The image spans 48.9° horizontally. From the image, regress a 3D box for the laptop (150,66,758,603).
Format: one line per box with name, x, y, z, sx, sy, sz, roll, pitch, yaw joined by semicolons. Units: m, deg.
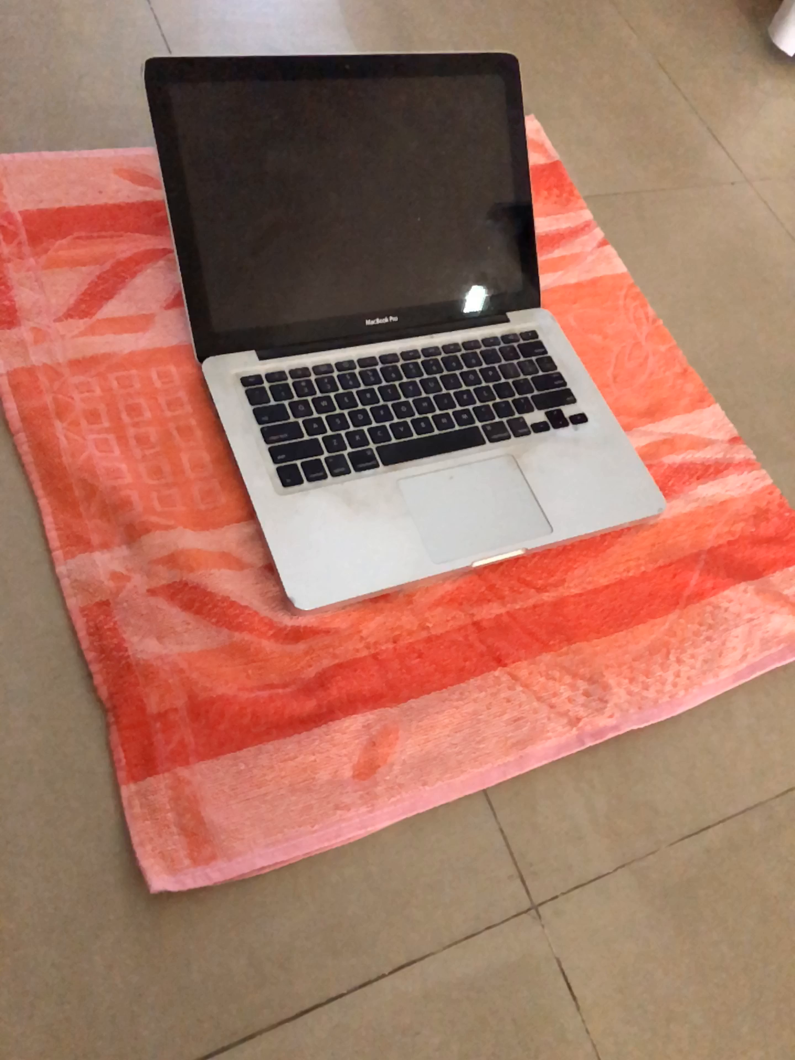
laptop;0.017;-0.173;0.660;0.310;0.133;0.373;-14;63;-23
